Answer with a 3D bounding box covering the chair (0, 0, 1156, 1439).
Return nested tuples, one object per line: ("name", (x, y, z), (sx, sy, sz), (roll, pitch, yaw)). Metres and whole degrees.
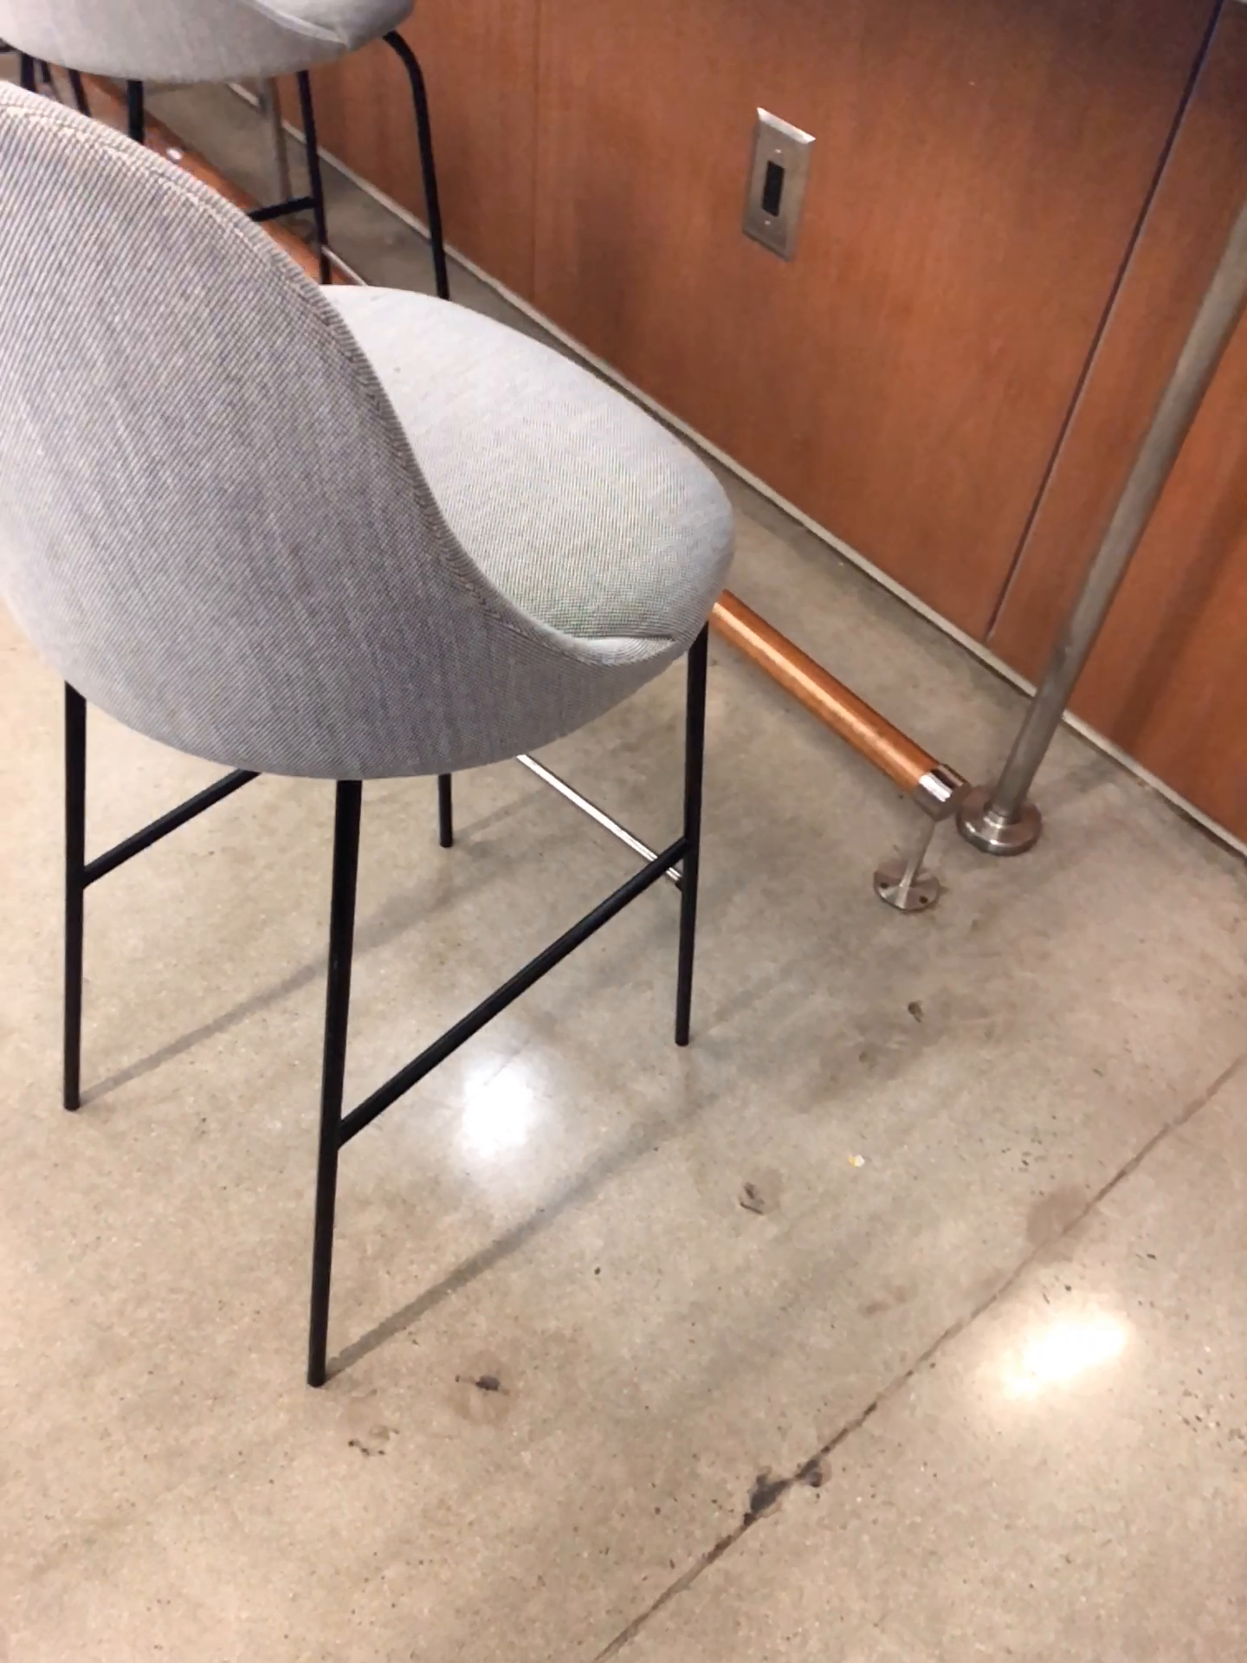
("chair", (-0.162, -0.112, 1.027), (0.461, 1.096, 0.621), (39, 57, 24))
